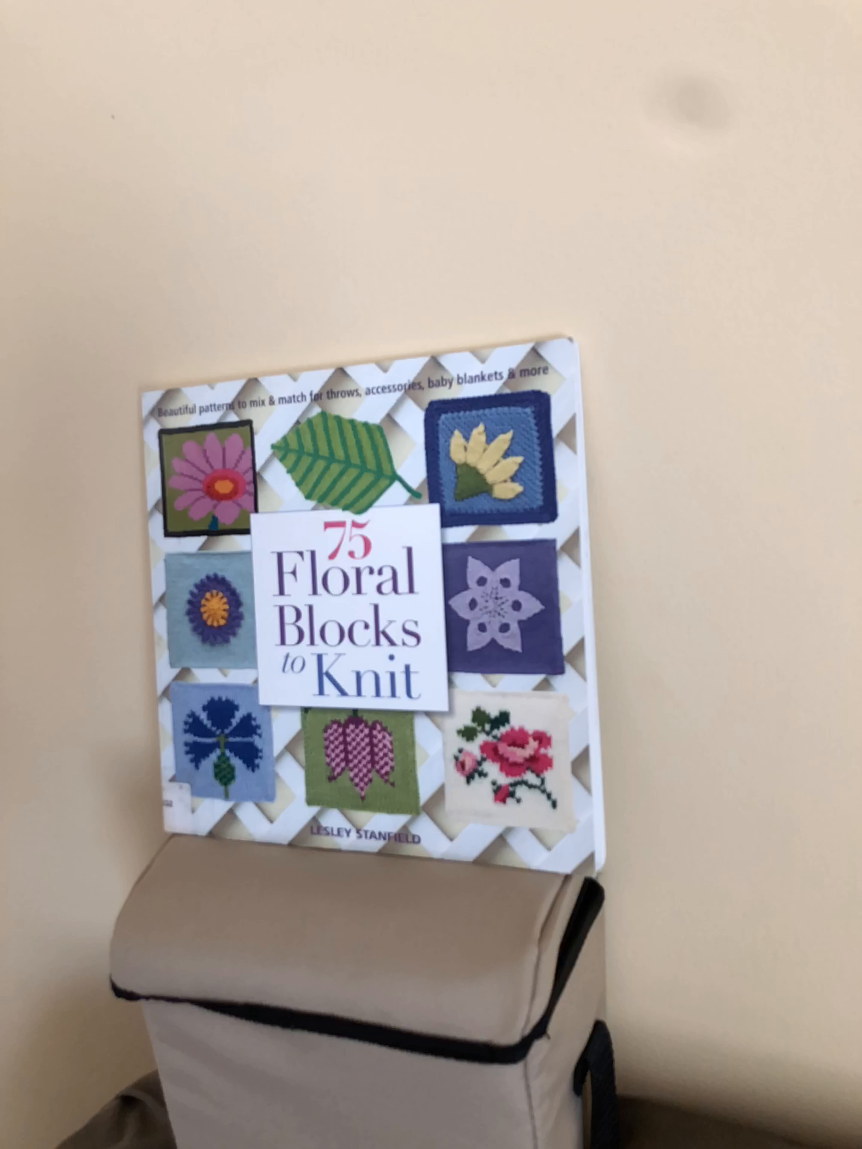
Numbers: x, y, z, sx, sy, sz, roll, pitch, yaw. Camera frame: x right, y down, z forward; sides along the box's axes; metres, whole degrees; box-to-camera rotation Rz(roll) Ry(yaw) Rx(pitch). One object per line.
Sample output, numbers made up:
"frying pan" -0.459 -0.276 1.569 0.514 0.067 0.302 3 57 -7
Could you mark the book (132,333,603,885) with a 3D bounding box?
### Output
"book" -0.035 0.014 0.418 0.218 0.215 0.020 0 1 22
